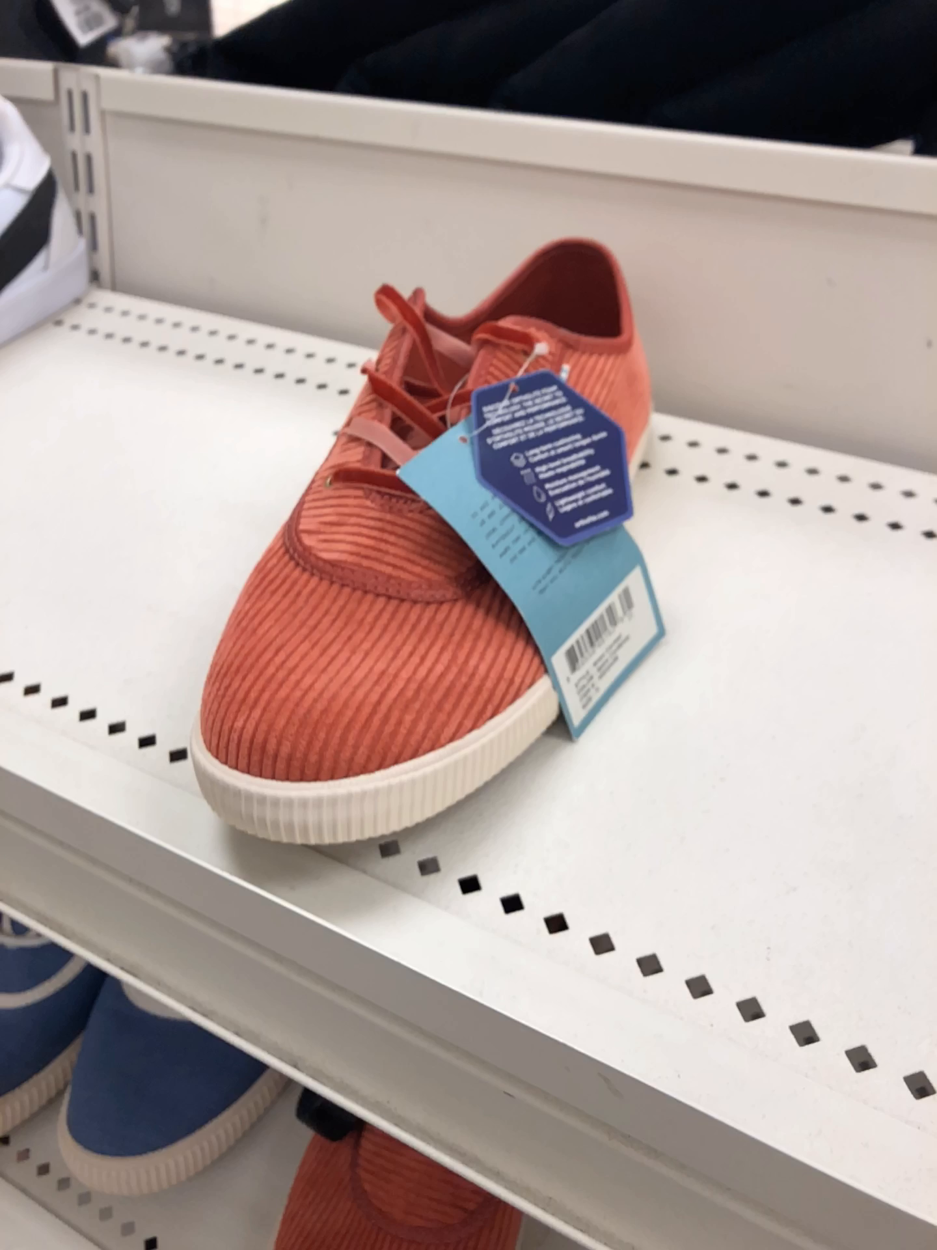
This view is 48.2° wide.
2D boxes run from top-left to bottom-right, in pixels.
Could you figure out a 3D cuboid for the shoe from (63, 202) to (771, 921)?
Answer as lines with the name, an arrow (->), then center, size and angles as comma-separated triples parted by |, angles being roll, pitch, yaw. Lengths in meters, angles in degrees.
shoe -> 0.018, -0.061, 0.368 | 0.100, 0.089, 0.323 | 15, 37, 19
